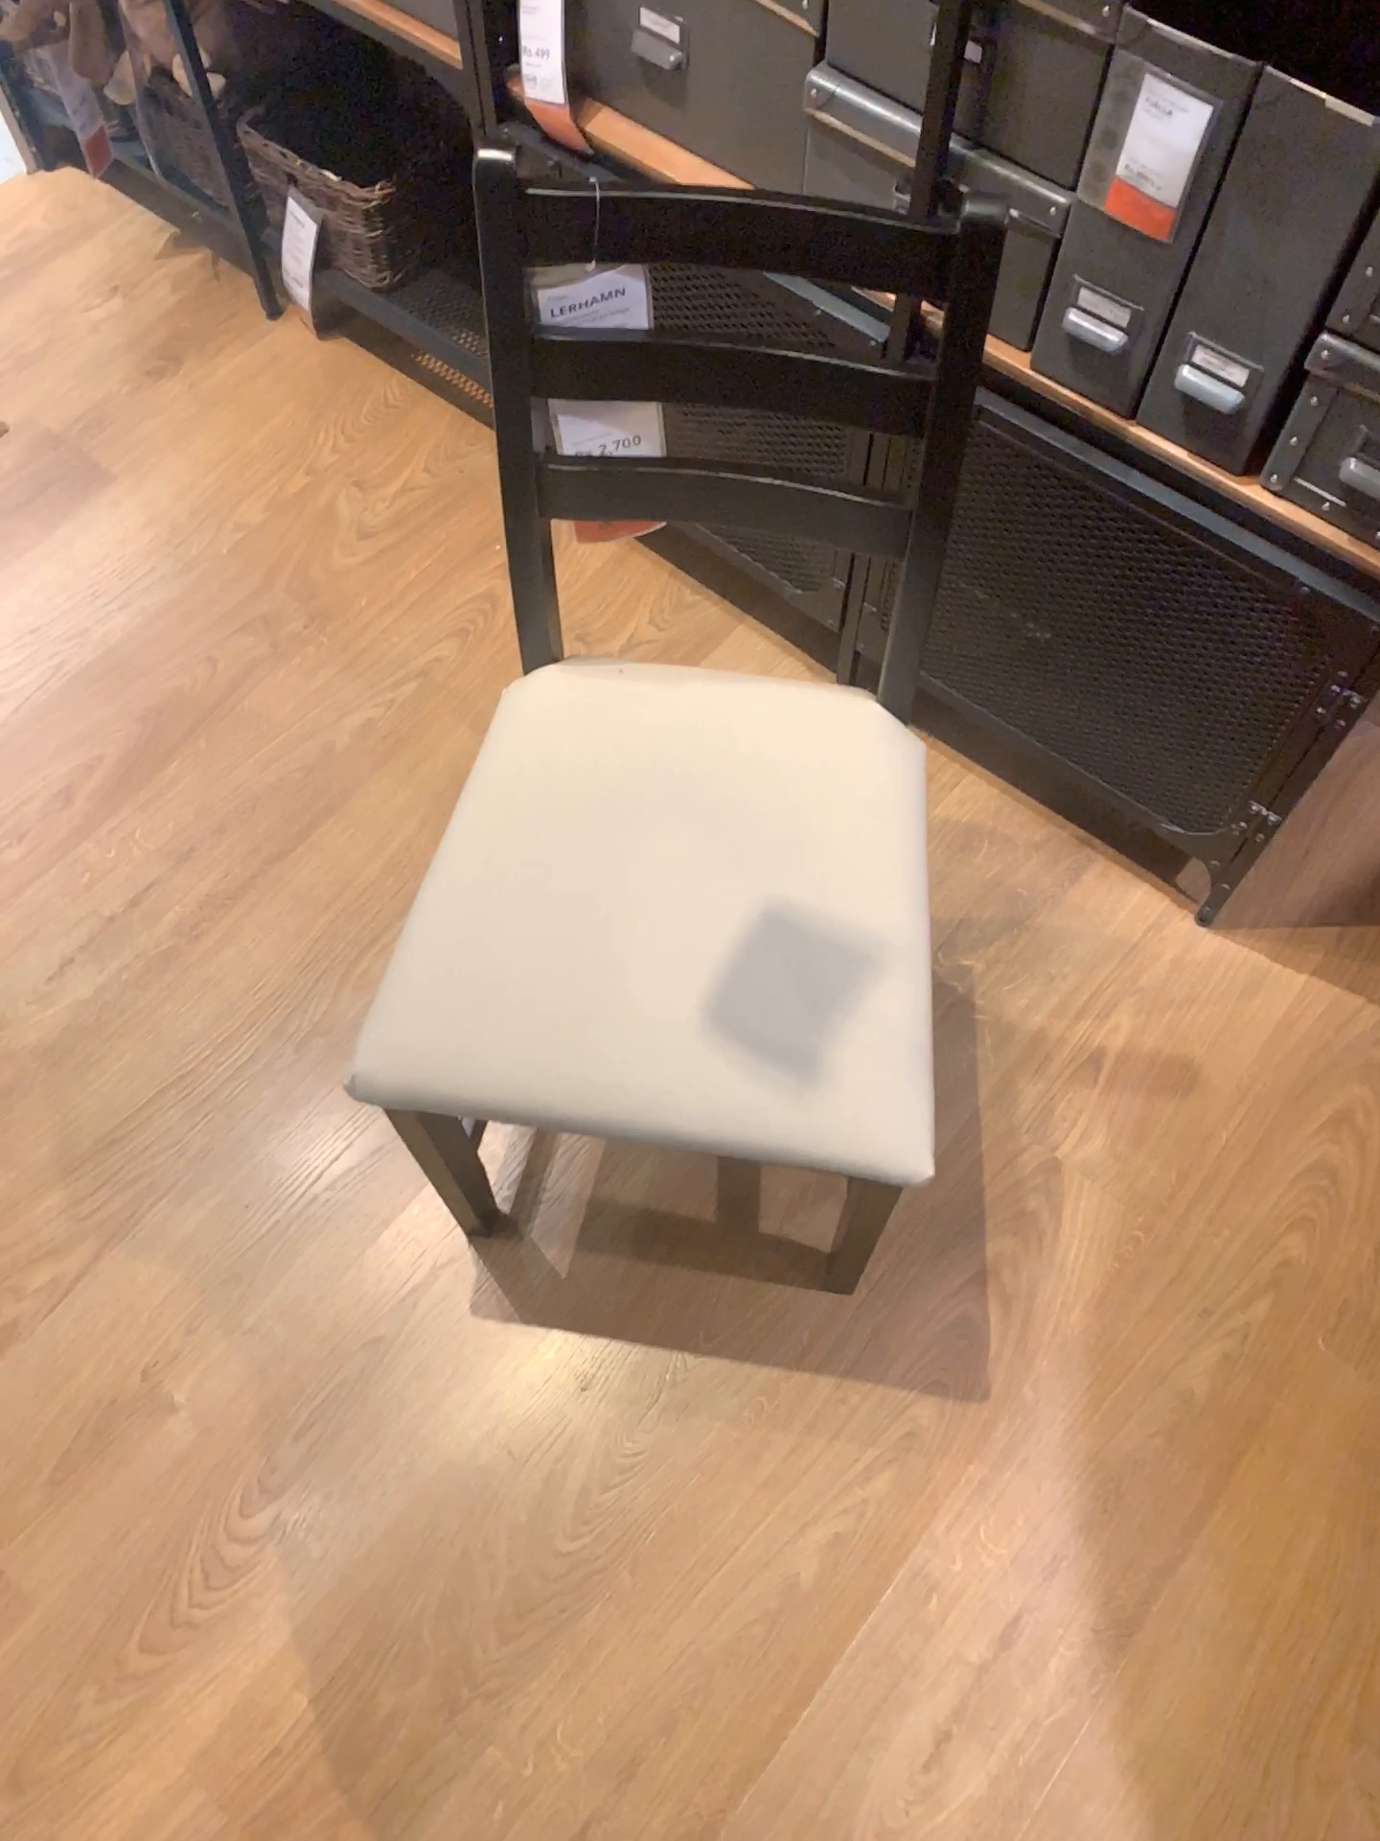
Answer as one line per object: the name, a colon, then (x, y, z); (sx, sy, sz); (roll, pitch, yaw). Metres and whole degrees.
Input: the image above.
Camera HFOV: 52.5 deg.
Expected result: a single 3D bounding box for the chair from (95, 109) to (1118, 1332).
chair: (-0.004, -0.047, 1.010); (0.400, 0.769, 0.471); (9, 64, 5)
